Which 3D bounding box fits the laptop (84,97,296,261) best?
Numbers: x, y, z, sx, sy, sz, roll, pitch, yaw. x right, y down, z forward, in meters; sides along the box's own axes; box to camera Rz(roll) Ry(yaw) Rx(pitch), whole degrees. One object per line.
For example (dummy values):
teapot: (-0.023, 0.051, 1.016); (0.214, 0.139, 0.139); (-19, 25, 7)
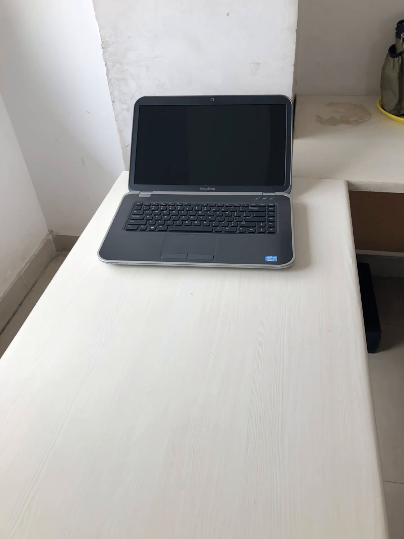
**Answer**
laptop: (0.009, -0.203, 0.909); (0.341, 0.145, 0.408); (2, 40, 7)
